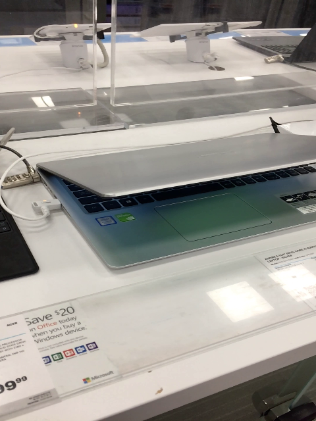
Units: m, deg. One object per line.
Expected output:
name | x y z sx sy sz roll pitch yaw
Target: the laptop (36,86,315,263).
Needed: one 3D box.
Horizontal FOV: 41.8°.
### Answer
laptop | 0.089 -0.067 0.528 0.394 0.083 0.219 -13 40 -18
